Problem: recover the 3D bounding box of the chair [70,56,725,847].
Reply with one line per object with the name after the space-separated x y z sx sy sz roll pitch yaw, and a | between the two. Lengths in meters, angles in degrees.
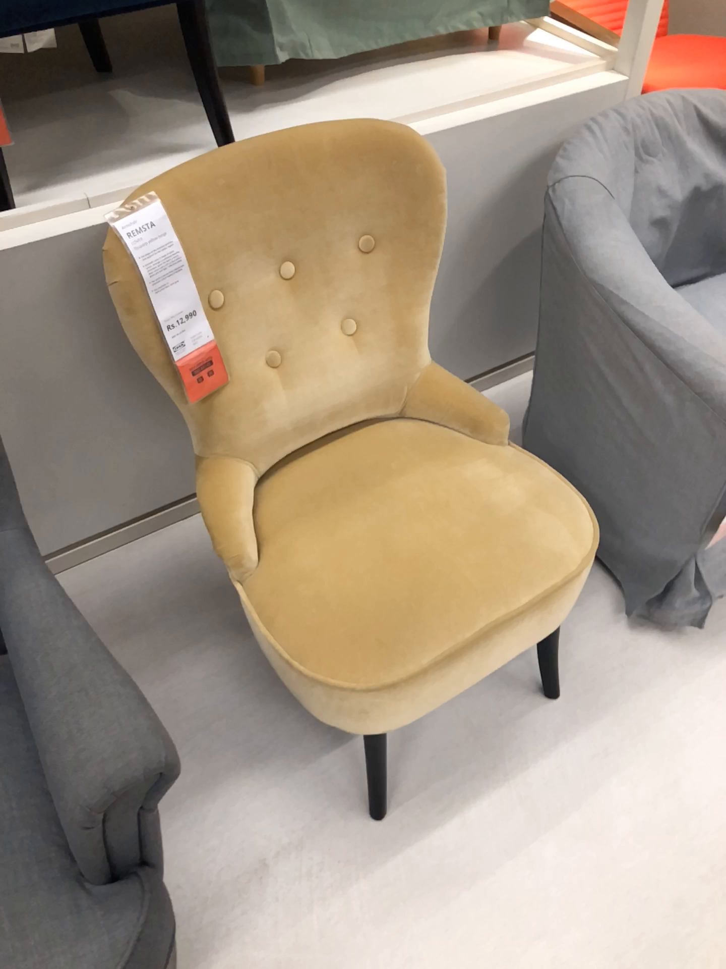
0.054 -0.037 1.228 0.581 0.865 0.643 -26 53 -22 | chair
